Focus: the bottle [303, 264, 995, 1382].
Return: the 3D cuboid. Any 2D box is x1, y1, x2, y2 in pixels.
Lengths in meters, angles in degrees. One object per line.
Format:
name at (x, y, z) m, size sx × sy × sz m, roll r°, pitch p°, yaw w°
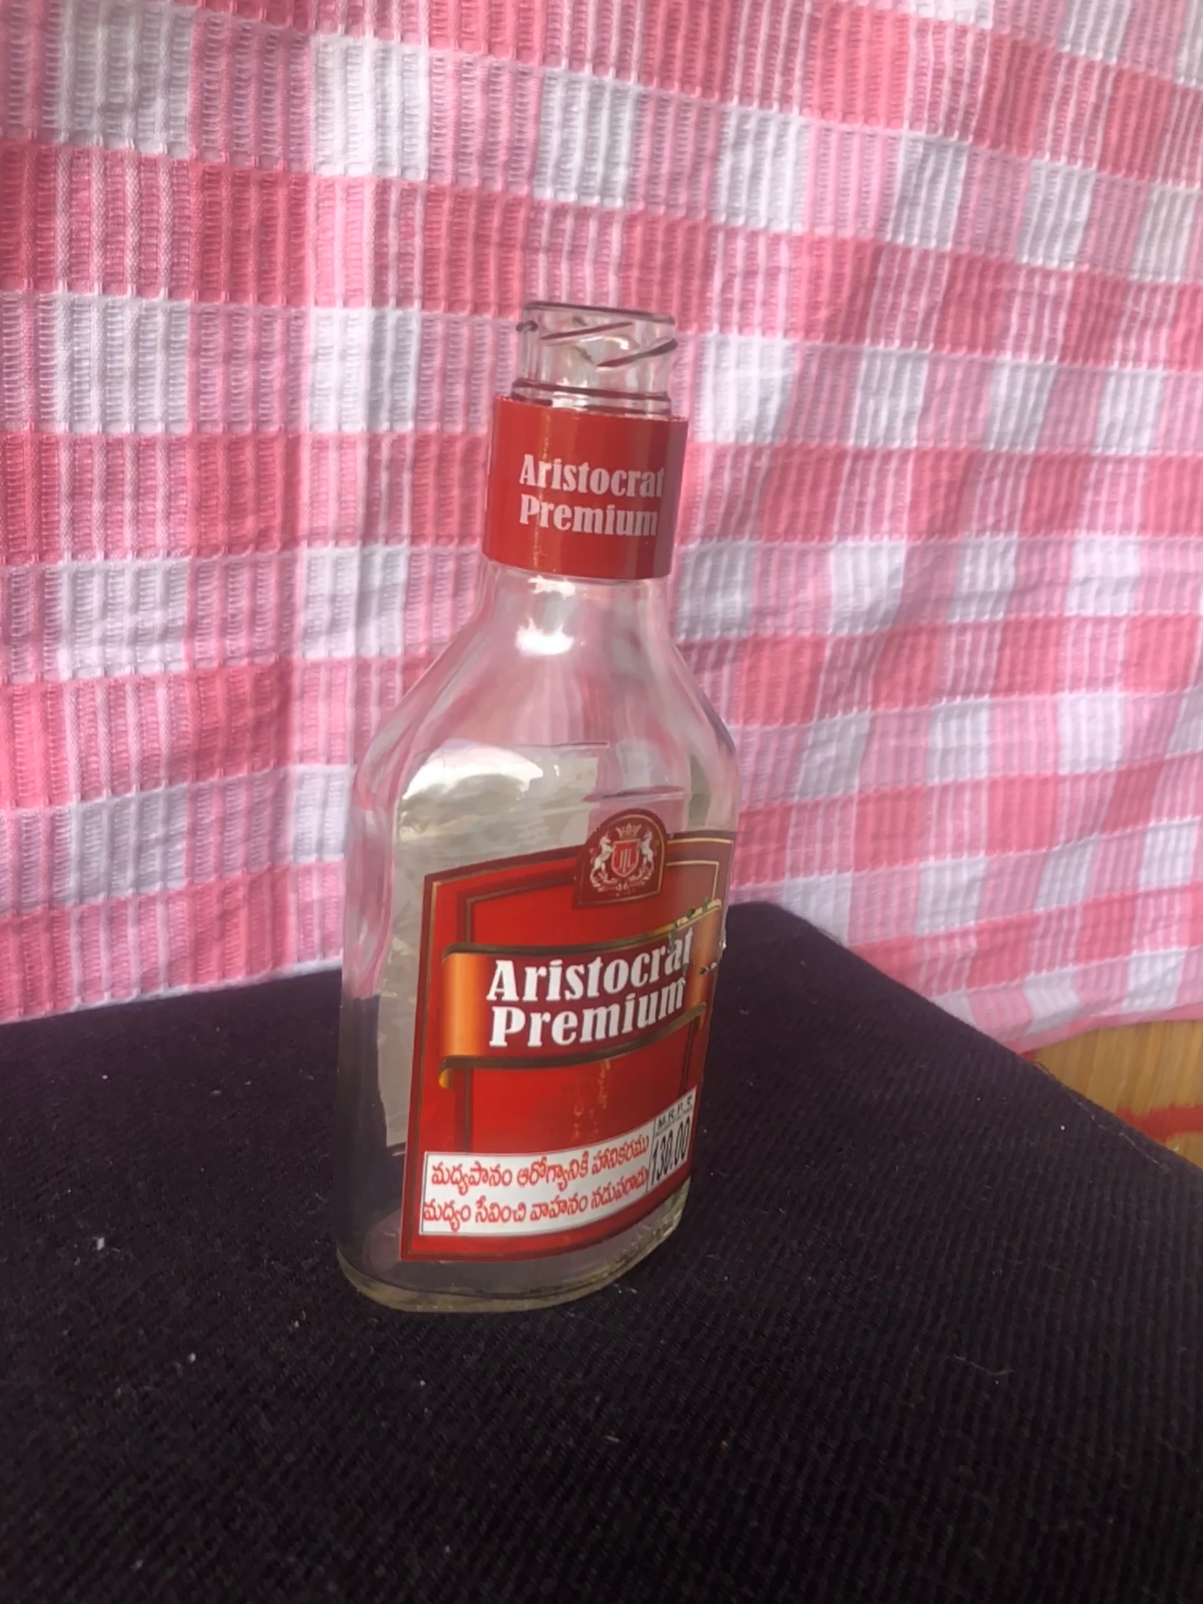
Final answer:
bottle at (0.001, 0.003, 0.207) m, size 0.070 × 0.149 × 0.050 m, roll -4°, pitch 23°, yaw -32°
